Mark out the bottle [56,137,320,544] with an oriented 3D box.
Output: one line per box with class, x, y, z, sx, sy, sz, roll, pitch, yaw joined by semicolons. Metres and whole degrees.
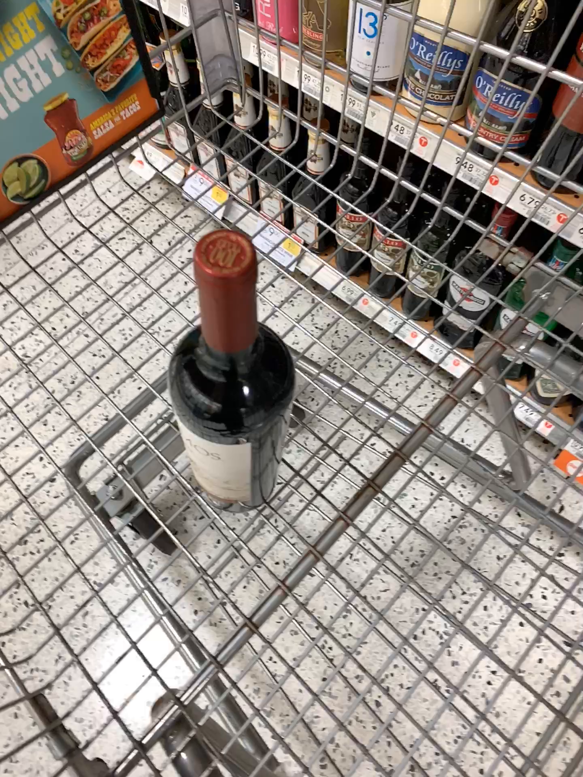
bottle;-0.047;0.006;0.373;0.080;0.298;0.090;-22;66;-12
